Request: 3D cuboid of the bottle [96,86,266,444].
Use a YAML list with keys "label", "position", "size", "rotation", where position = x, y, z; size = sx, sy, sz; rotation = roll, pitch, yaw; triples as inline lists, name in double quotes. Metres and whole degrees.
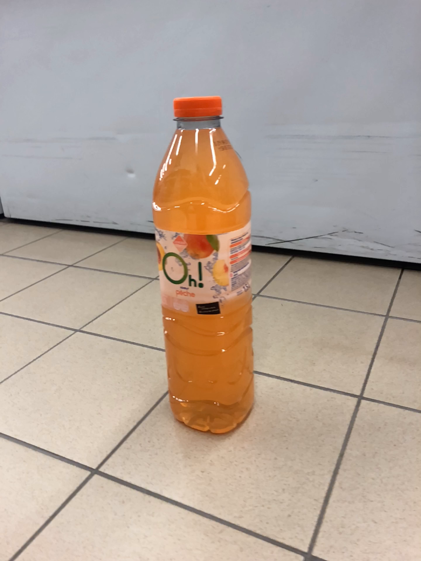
- label: "bottle"
  position: [-0.014, -0.015, 0.428]
  size: [0.100, 0.299, 0.101]
  rotation: [-2, 22, 1]
